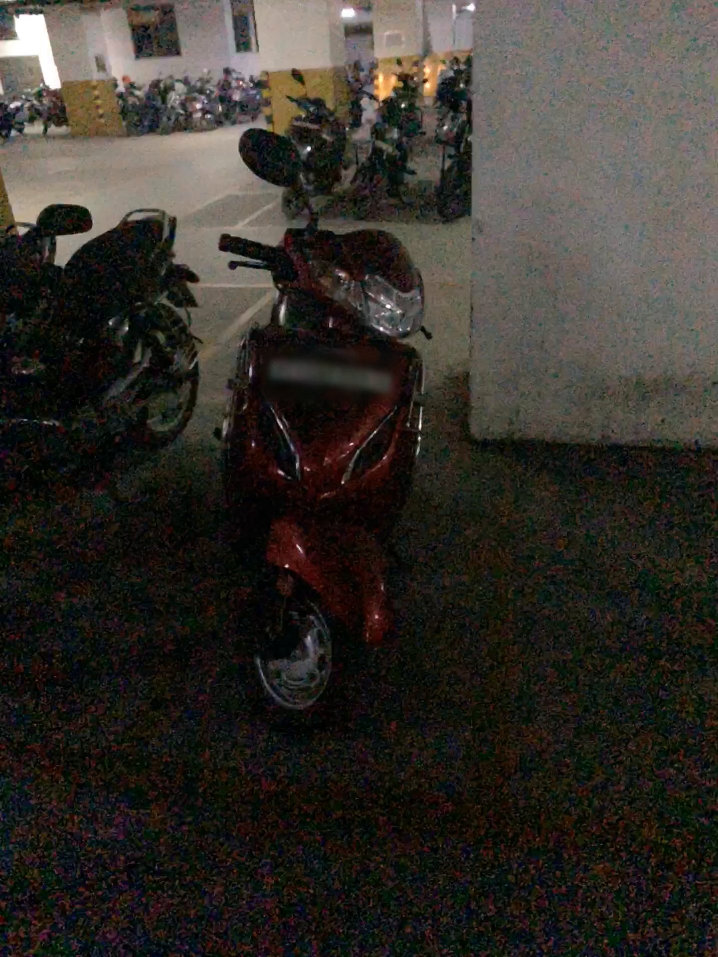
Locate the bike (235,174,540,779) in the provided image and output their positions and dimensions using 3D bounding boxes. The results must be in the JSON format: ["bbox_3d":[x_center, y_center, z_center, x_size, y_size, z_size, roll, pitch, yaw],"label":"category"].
[{"bbox_3d":[-0.004,-0.130,2.134,0.486,0.909,1.397,-8,38,-7],"label":"bike"}]
